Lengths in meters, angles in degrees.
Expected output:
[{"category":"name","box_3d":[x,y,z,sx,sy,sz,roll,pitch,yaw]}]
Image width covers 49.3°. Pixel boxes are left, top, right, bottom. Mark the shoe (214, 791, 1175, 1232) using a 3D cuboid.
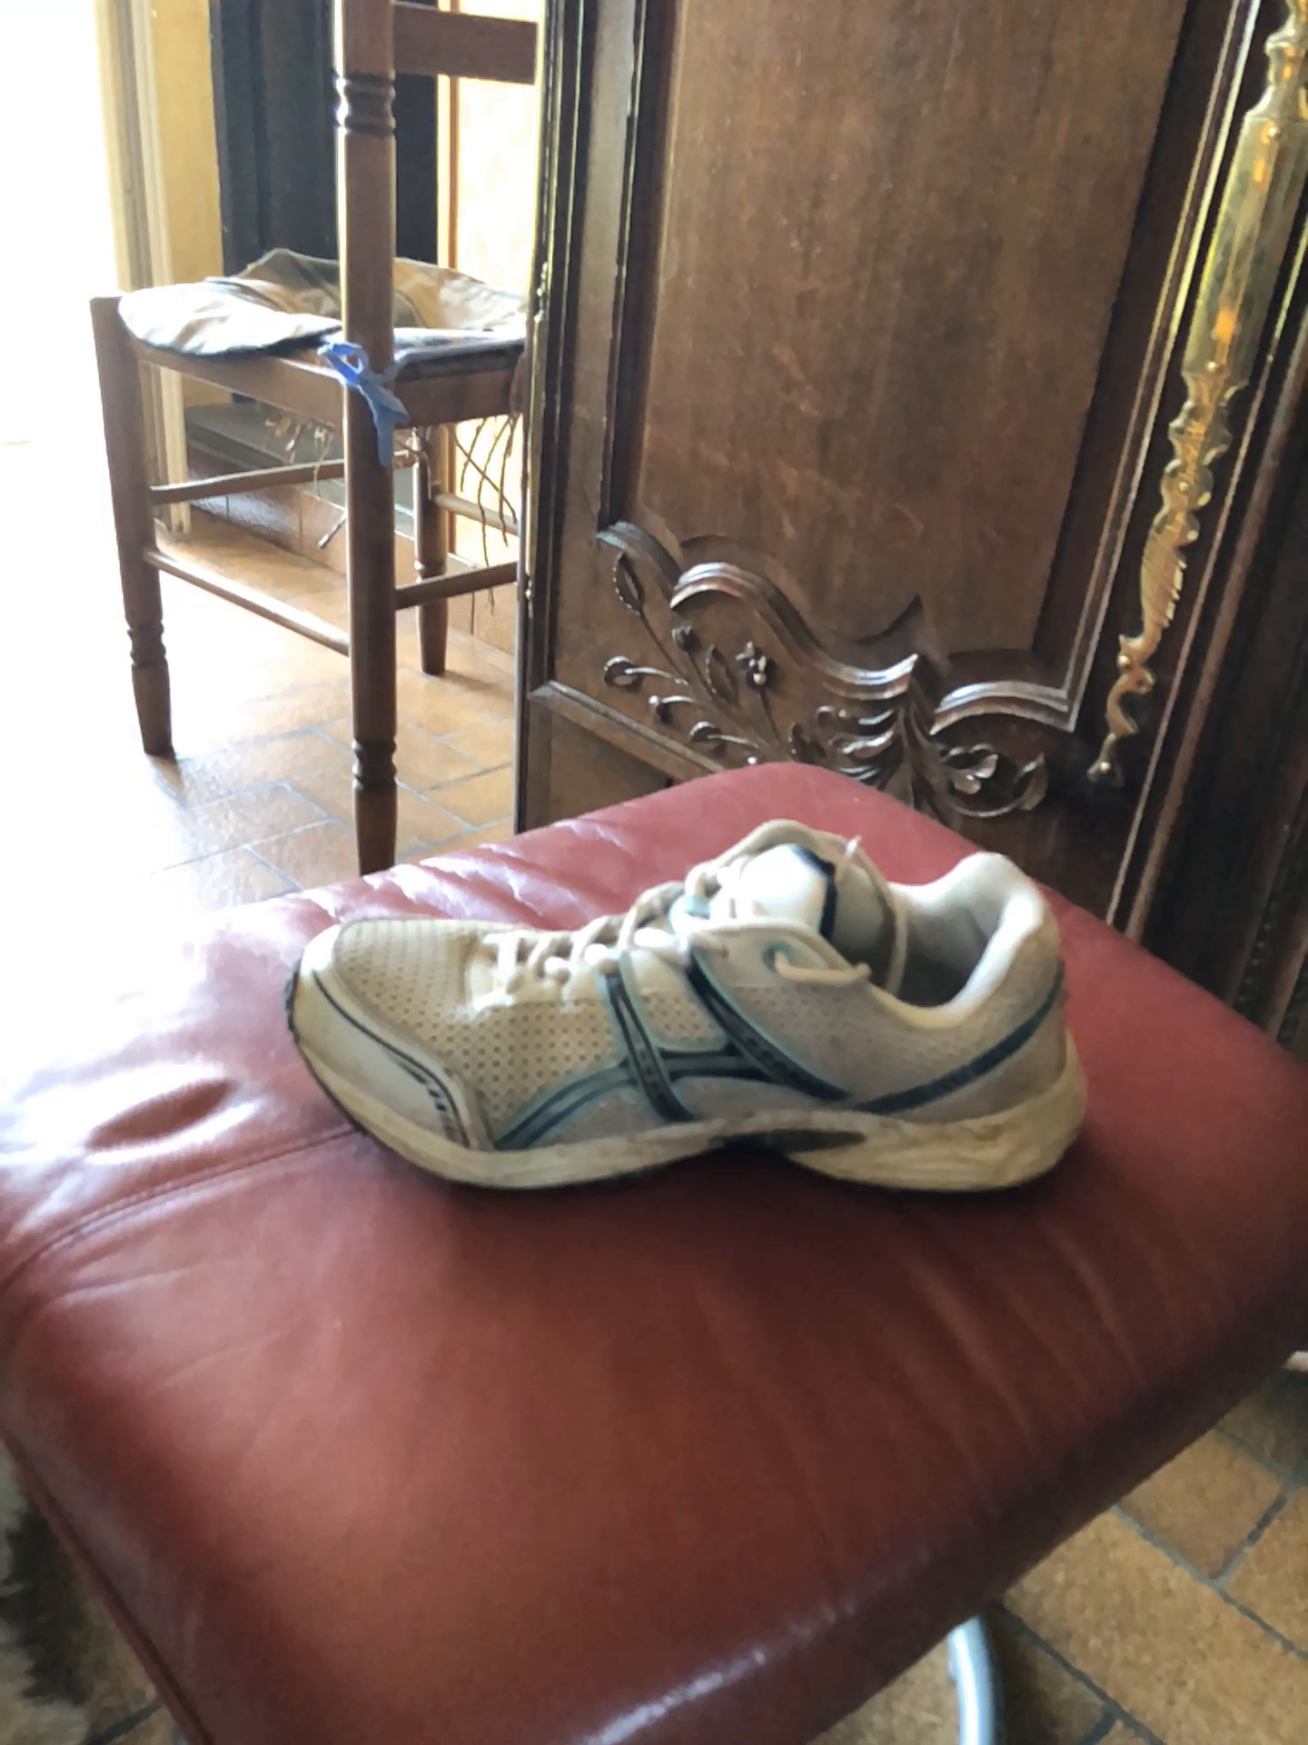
[{"category":"shoe","box_3d":[0.009,0.042,0.469,0.270,0.080,0.121,3,28,-5]}]
